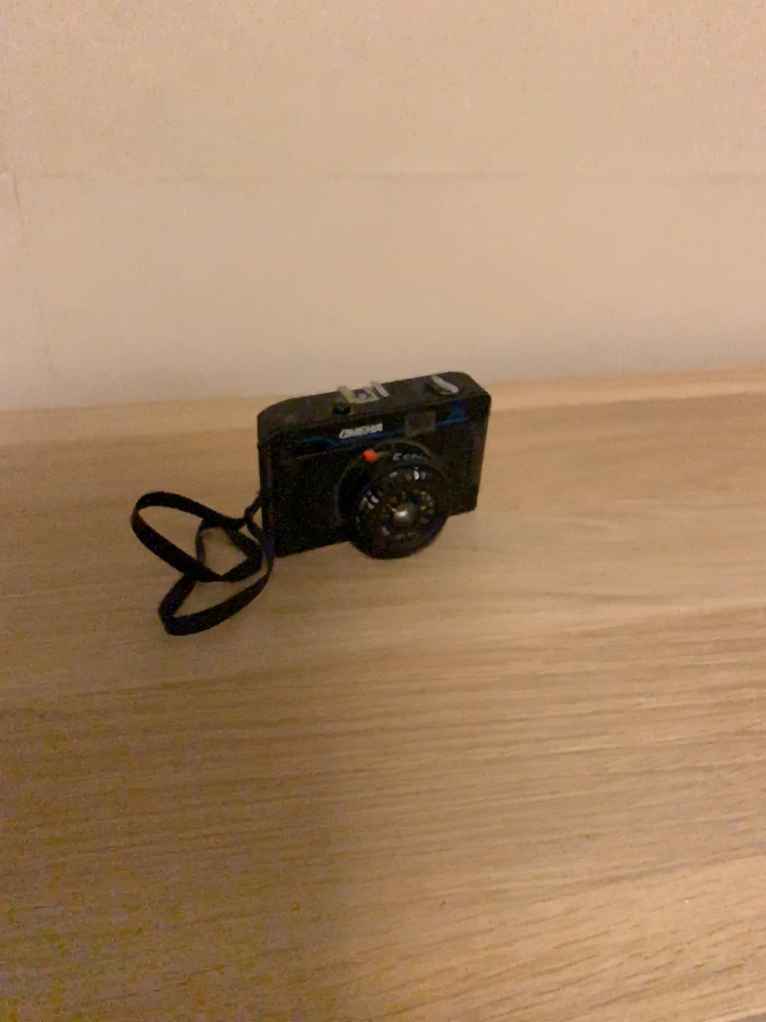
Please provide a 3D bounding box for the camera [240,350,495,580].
[{"bbox_3d":[-0.010,-0.023,0.391,0.110,0.089,0.040,-11,40,-19],"label":"camera"}]
